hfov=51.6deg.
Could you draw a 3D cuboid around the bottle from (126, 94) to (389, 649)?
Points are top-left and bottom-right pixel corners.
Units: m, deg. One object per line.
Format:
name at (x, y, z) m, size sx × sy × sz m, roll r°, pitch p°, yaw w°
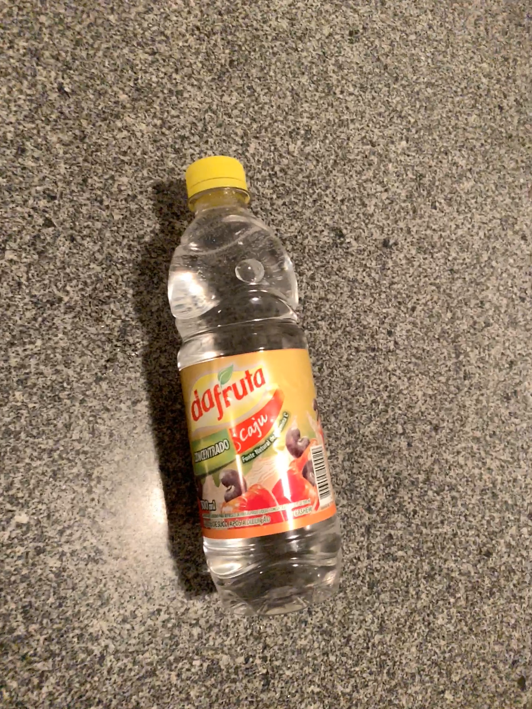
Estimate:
bottle at (-0.010, 0.002, 0.266) m, size 0.070 × 0.060 × 0.230 m, roll -7°, pitch 82°, yaw -26°
